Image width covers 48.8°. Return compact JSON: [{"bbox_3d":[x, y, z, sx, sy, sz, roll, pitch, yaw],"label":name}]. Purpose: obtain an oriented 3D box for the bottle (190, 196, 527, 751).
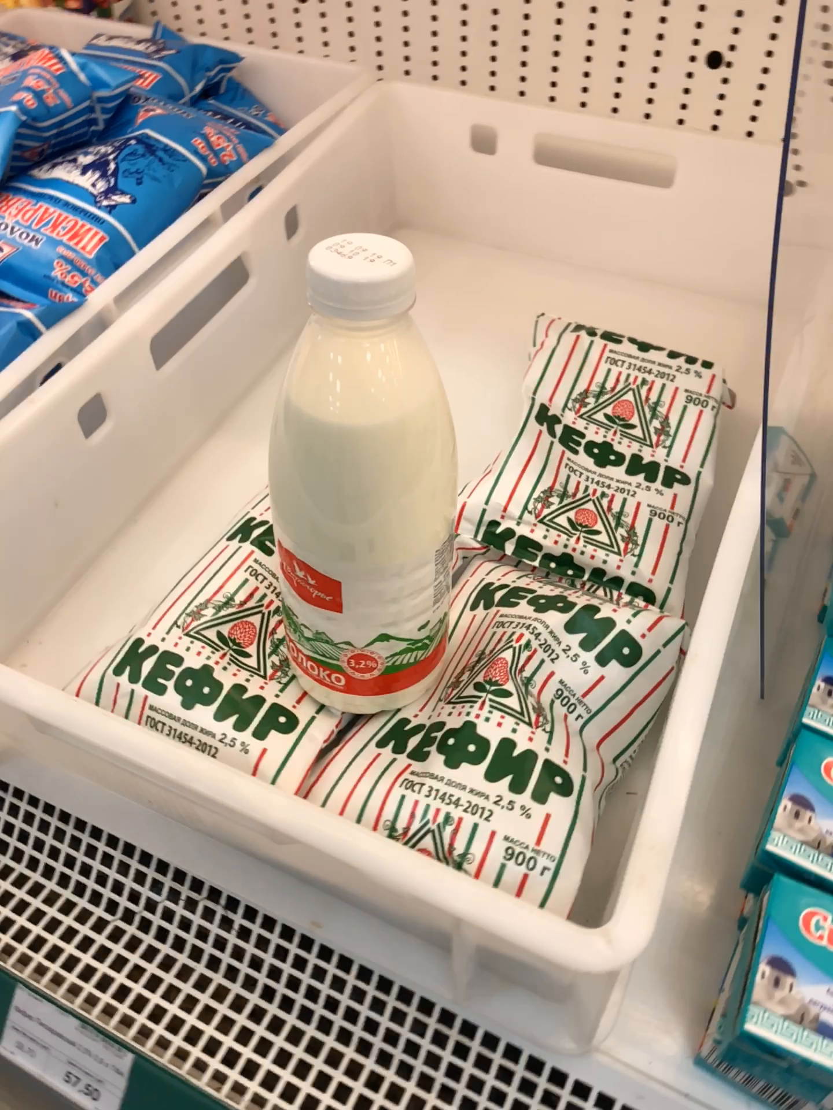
[{"bbox_3d":[-0.023,-0.025,0.403,0.085,0.216,0.085,1,45,-1],"label":"bottle"}]
